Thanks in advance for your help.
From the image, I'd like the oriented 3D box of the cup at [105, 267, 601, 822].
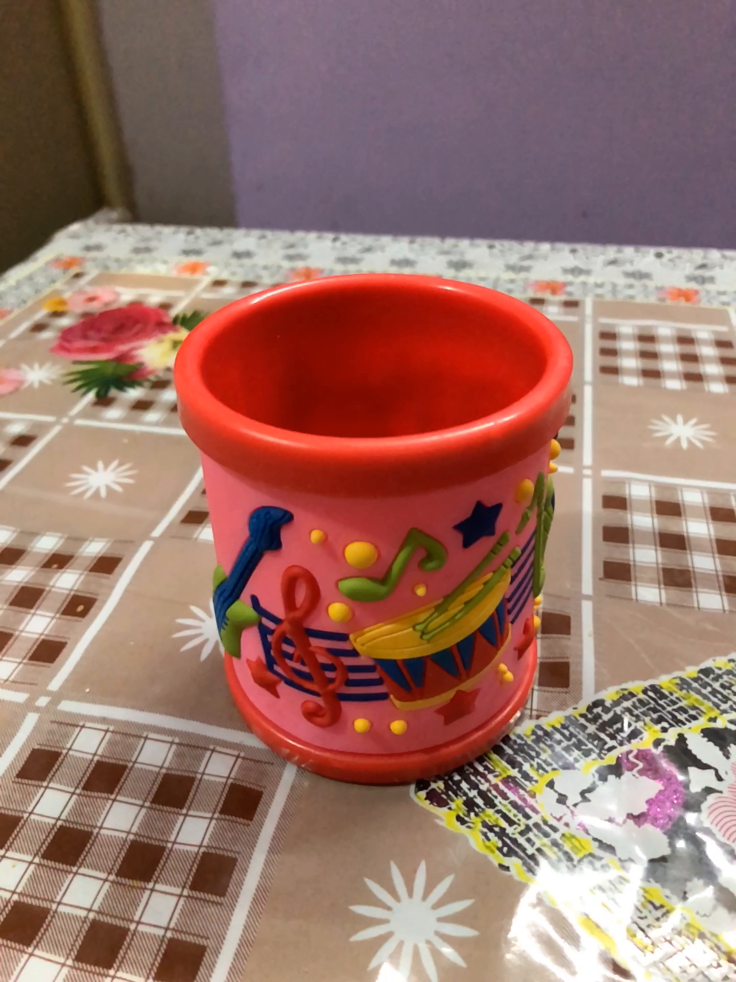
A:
[{"bbox_3d":[0.000,0.010,0.194,0.080,0.099,0.081,-1,35,1],"label":"cup"}]
